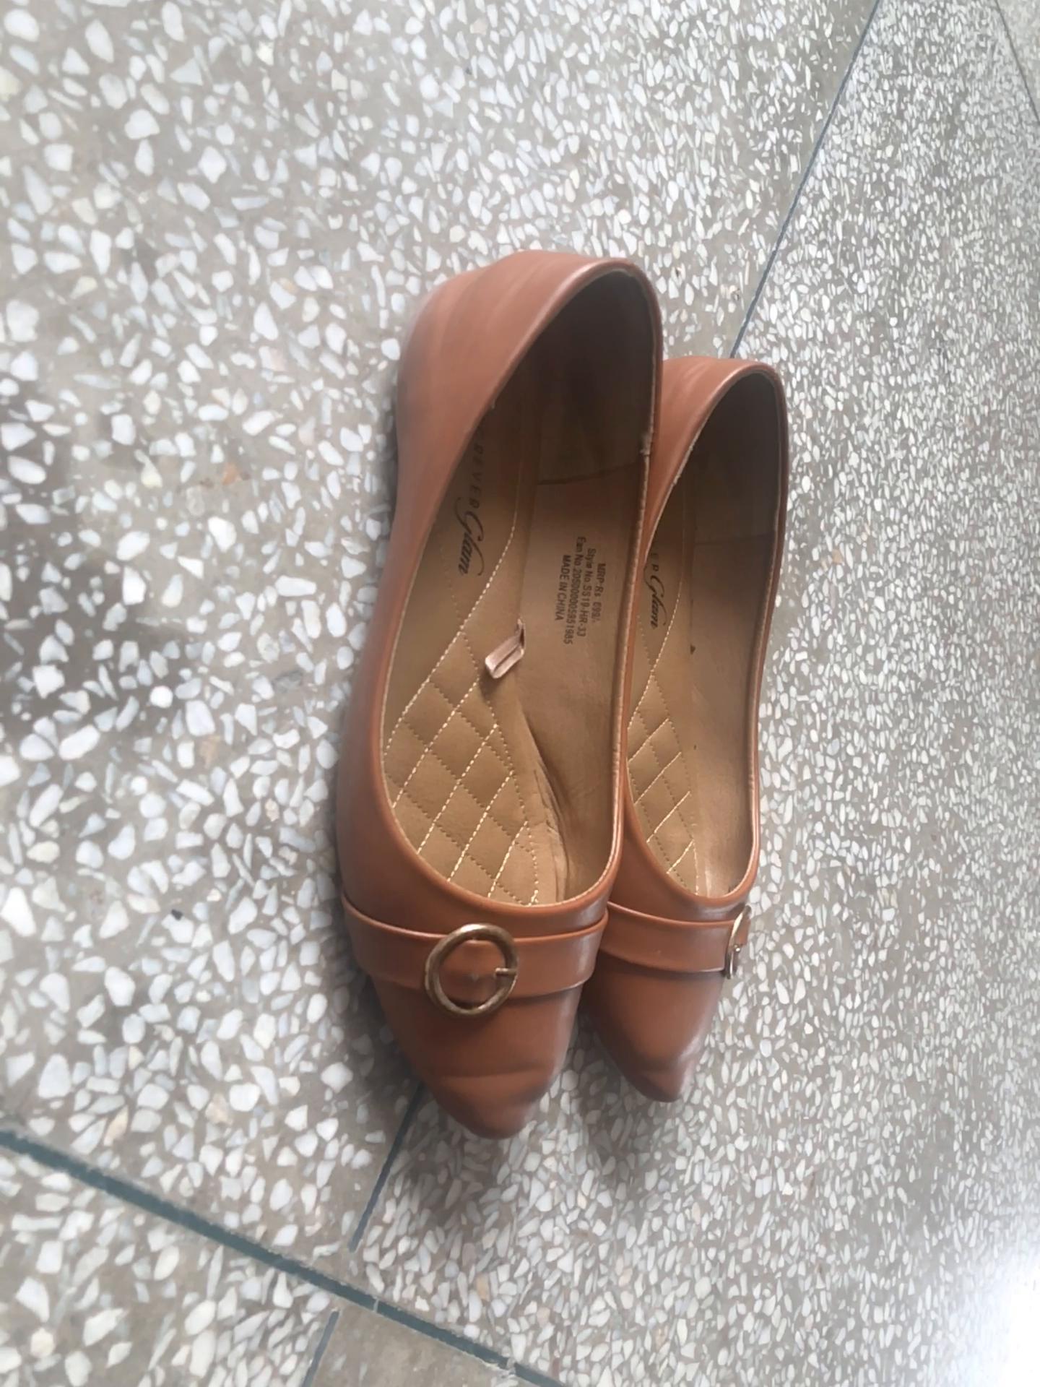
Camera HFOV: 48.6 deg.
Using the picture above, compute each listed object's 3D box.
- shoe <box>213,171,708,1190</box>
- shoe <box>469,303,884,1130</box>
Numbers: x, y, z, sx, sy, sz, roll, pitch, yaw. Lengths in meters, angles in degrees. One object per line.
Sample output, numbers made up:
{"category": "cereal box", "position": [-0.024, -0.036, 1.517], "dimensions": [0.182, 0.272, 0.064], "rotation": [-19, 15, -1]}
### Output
{"category": "shoe", "position": [-0.017, 0.001, 0.327], "dimensions": [0.091, 0.050, 0.250], "rotation": [5, 97, -41]}
{"category": "shoe", "position": [0.053, 0.010, 0.390], "dimensions": [0.091, 0.050, 0.250], "rotation": [5, 97, -41]}
